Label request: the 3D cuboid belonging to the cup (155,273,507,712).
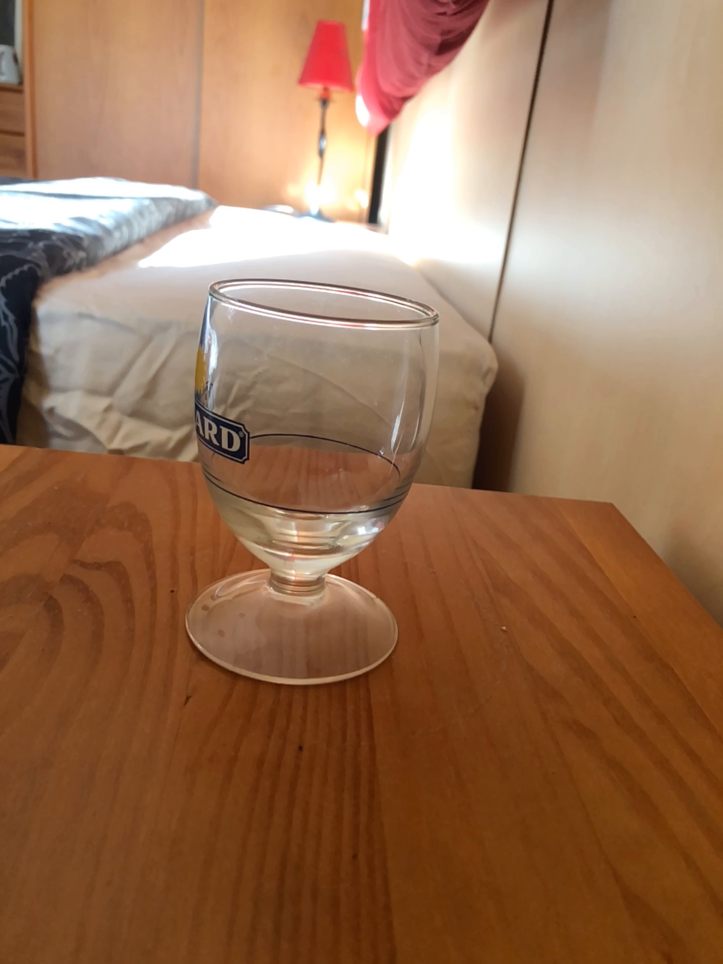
[{"bbox_3d":[-0.015,-0.002,0.229,0.069,0.098,0.069,7,20,-3],"label":"cup"}]
